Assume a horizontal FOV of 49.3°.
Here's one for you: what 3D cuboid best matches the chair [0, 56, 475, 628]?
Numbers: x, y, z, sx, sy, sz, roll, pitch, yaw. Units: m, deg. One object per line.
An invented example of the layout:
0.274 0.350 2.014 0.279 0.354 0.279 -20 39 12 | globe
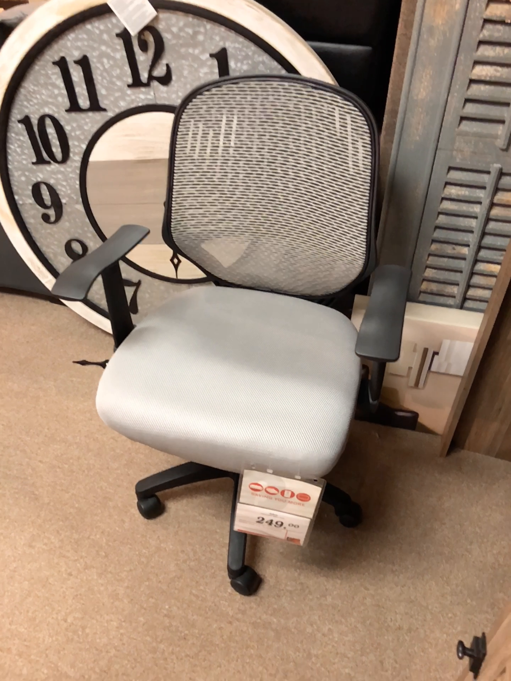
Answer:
0.001 -0.011 1.152 0.610 0.864 0.674 10 41 10 | chair
